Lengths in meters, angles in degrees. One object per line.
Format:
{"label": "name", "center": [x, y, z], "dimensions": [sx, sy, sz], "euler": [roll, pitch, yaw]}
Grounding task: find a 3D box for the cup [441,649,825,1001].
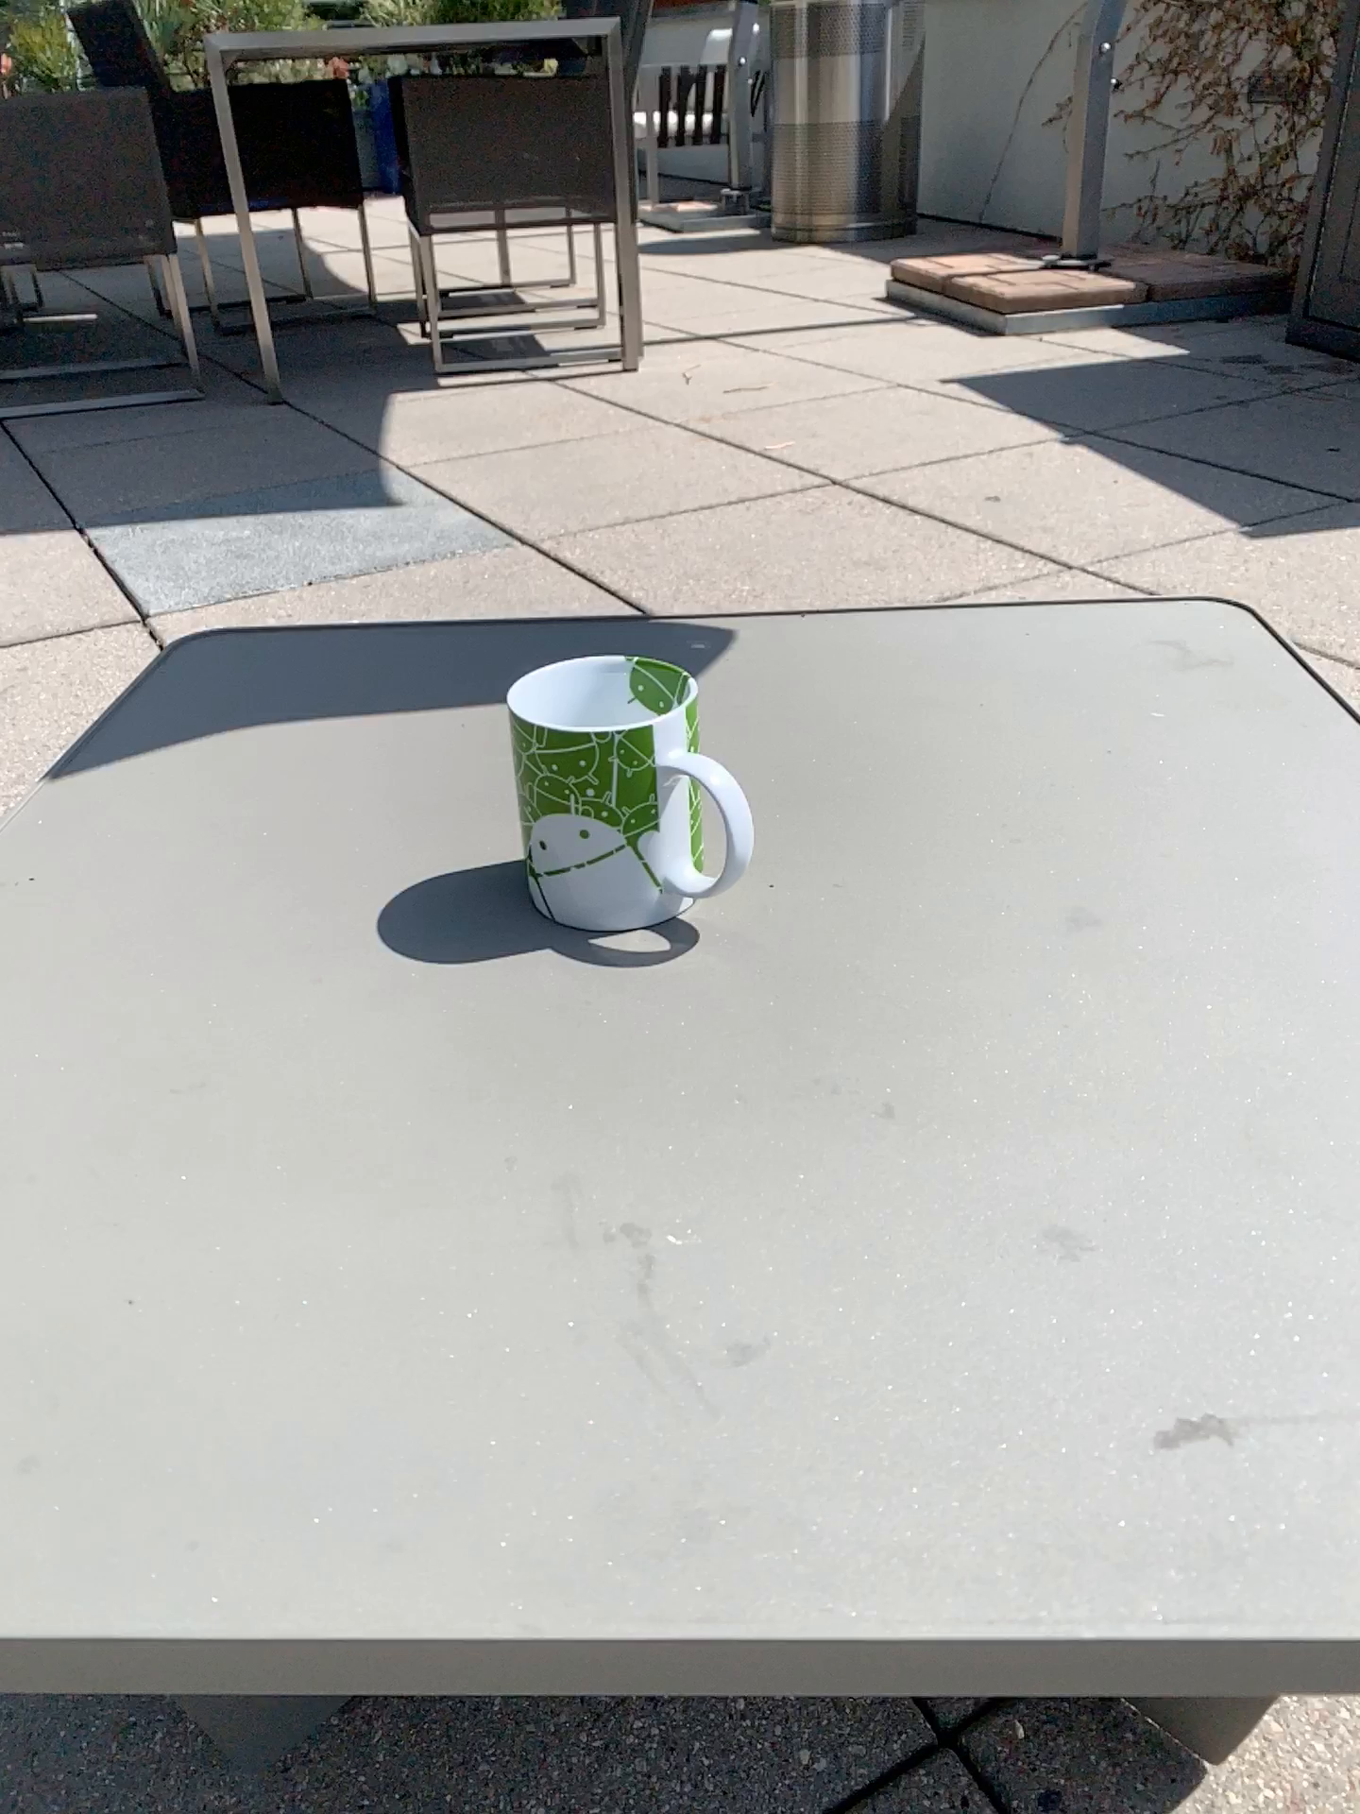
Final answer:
{"label": "cup", "center": [-0.016, -0.038, 0.565], "dimensions": [0.120, 0.090, 0.090], "euler": [16, 36, 29]}
